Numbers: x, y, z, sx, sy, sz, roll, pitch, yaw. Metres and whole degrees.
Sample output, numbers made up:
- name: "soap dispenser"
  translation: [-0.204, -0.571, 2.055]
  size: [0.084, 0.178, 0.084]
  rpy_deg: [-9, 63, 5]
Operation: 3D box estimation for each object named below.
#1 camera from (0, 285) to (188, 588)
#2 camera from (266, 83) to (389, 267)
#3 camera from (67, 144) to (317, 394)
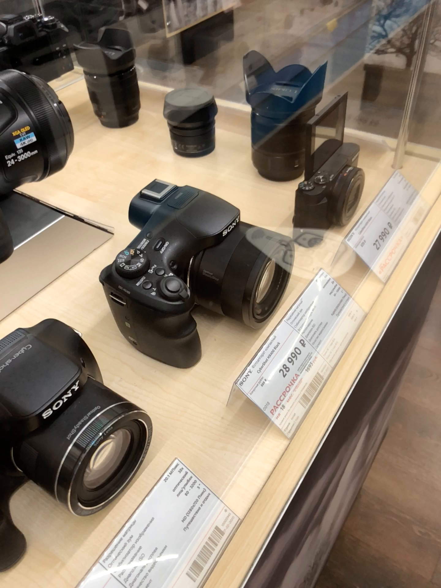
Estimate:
- name: "camera"
  translation: [-0.096, 0.074, 0.267]
  size: [0.096, 0.073, 0.122]
  rpy_deg: [22, 50, 25]
- name: "camera"
  translation: [0.098, -0.113, 0.455]
  size: [0.056, 0.113, 0.125]
  rpy_deg: [22, 50, 25]
- name: "camera"
  translation: [-0.012, -0.026, 0.348]
  size: [0.104, 0.086, 0.138]
  rpy_deg: [22, 50, 25]
